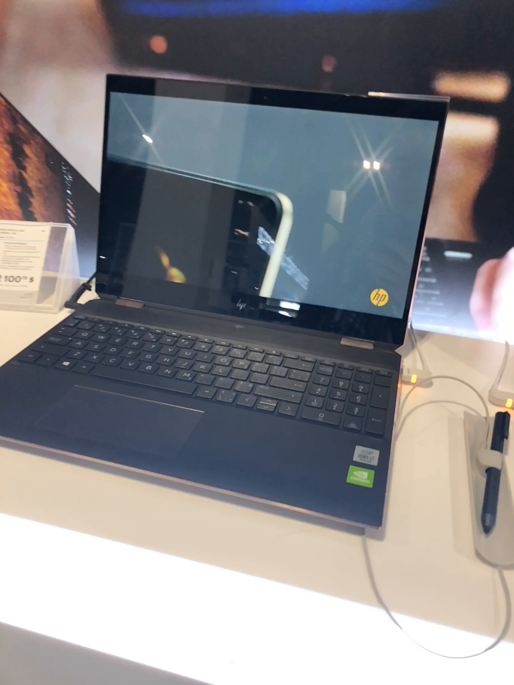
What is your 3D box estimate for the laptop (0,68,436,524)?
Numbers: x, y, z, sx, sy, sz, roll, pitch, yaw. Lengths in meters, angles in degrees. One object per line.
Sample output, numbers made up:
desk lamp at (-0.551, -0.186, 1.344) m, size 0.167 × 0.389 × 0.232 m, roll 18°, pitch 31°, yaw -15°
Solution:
laptop at (-0.047, -0.085, 0.475) m, size 0.333 × 0.226 × 0.323 m, roll 10°, pitch 28°, yaw 10°
